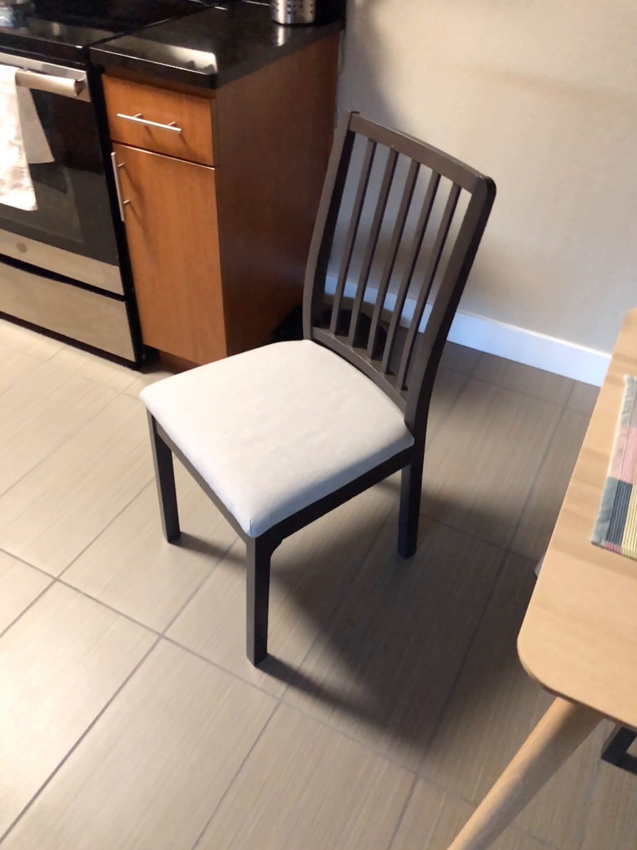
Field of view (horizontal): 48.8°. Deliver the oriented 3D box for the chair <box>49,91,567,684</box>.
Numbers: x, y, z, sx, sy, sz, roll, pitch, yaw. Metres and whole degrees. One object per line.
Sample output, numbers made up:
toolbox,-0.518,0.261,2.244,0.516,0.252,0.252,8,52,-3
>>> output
chair,-0.050,-0.087,1.382,0.591,0.846,0.582,-24,48,-28
